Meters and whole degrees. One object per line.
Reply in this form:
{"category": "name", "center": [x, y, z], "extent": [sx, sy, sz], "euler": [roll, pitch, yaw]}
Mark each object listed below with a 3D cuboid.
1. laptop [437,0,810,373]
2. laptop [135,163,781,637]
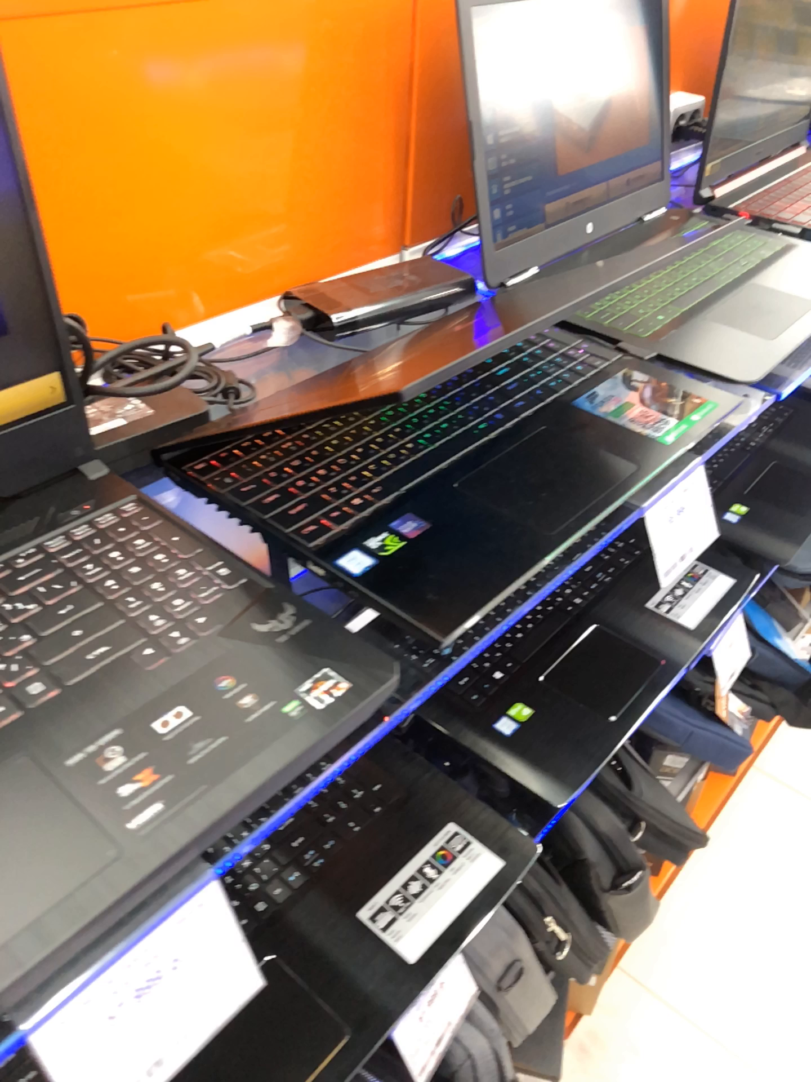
{"category": "laptop", "center": [0.265, -0.366, 0.818], "extent": [0.307, 0.252, 0.335], "euler": [27, 43, 30]}
{"category": "laptop", "center": [0.050, -0.129, 0.594], "extent": [0.233, 0.118, 0.360], "euler": [30, 45, 29]}
